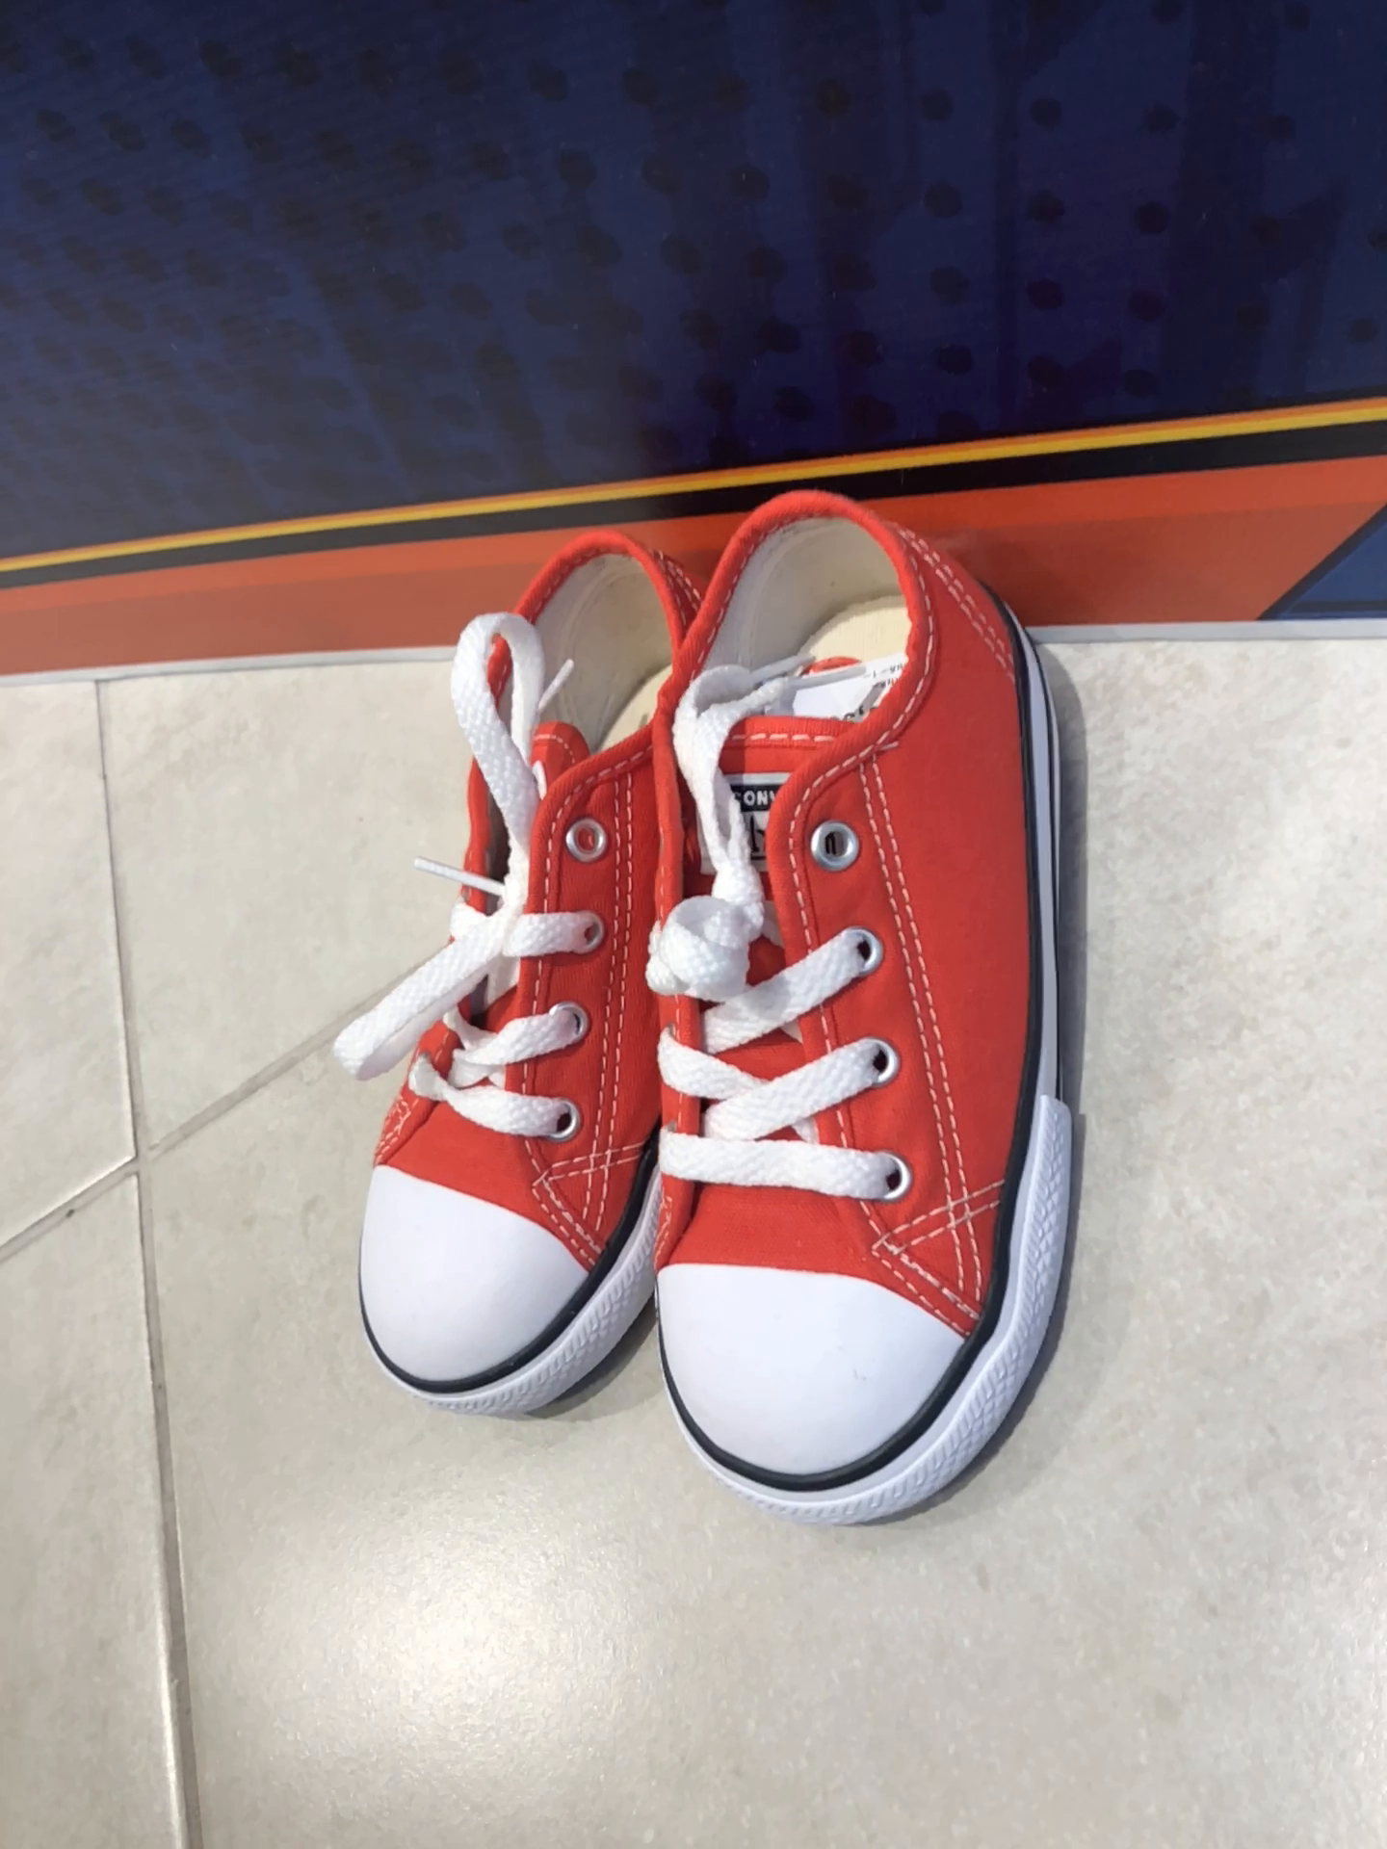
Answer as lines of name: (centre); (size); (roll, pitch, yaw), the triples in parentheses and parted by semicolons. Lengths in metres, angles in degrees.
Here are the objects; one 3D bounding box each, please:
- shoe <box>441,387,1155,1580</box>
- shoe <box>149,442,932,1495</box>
shoe: (0.028, 0.010, 0.284); (0.080, 0.070, 0.190); (-3, 66, 34)
shoe: (-0.025, 0.006, 0.319); (0.080, 0.070, 0.190); (7, 72, 37)
